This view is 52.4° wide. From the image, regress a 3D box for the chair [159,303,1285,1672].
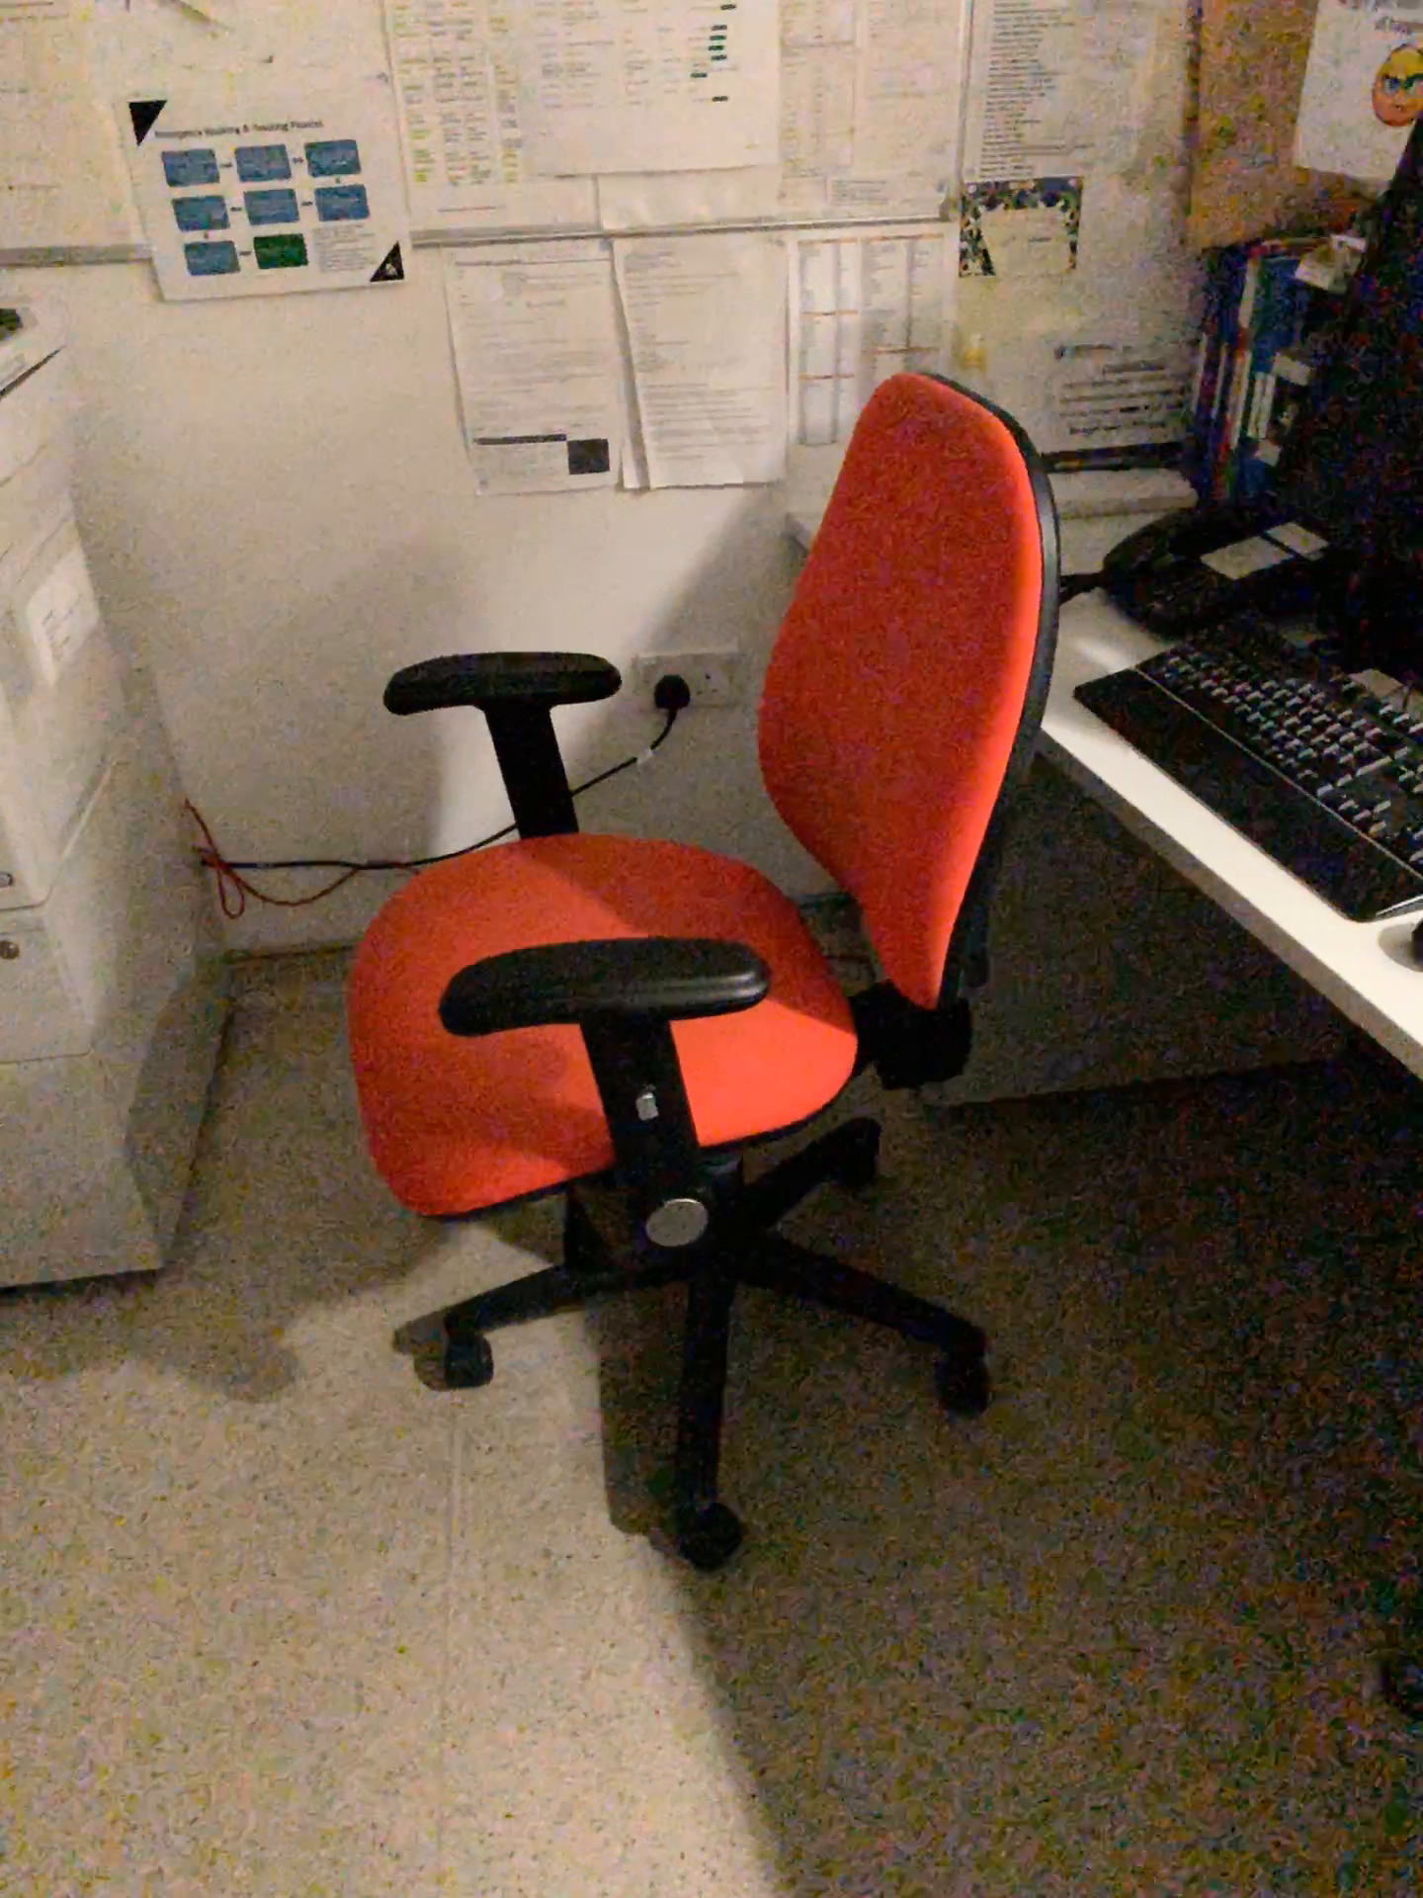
[{"bbox_3d":[-0.047,-0.008,1.335,0.651,0.921,0.676,-13,35,-15],"label":"chair"}]
